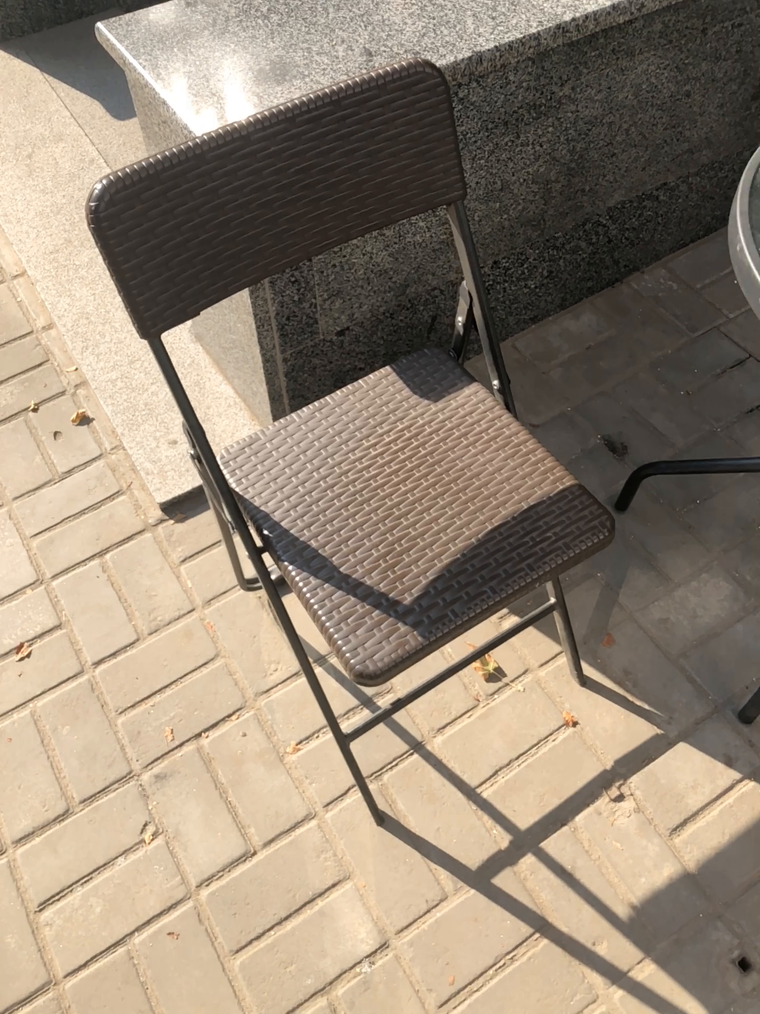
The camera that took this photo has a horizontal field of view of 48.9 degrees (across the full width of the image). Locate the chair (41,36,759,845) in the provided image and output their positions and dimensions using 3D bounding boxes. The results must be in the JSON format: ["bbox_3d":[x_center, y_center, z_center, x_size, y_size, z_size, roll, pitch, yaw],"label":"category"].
[{"bbox_3d":[0.017,-0.028,1.033,0.450,0.748,0.511,-29,59,-18],"label":"chair"}]
